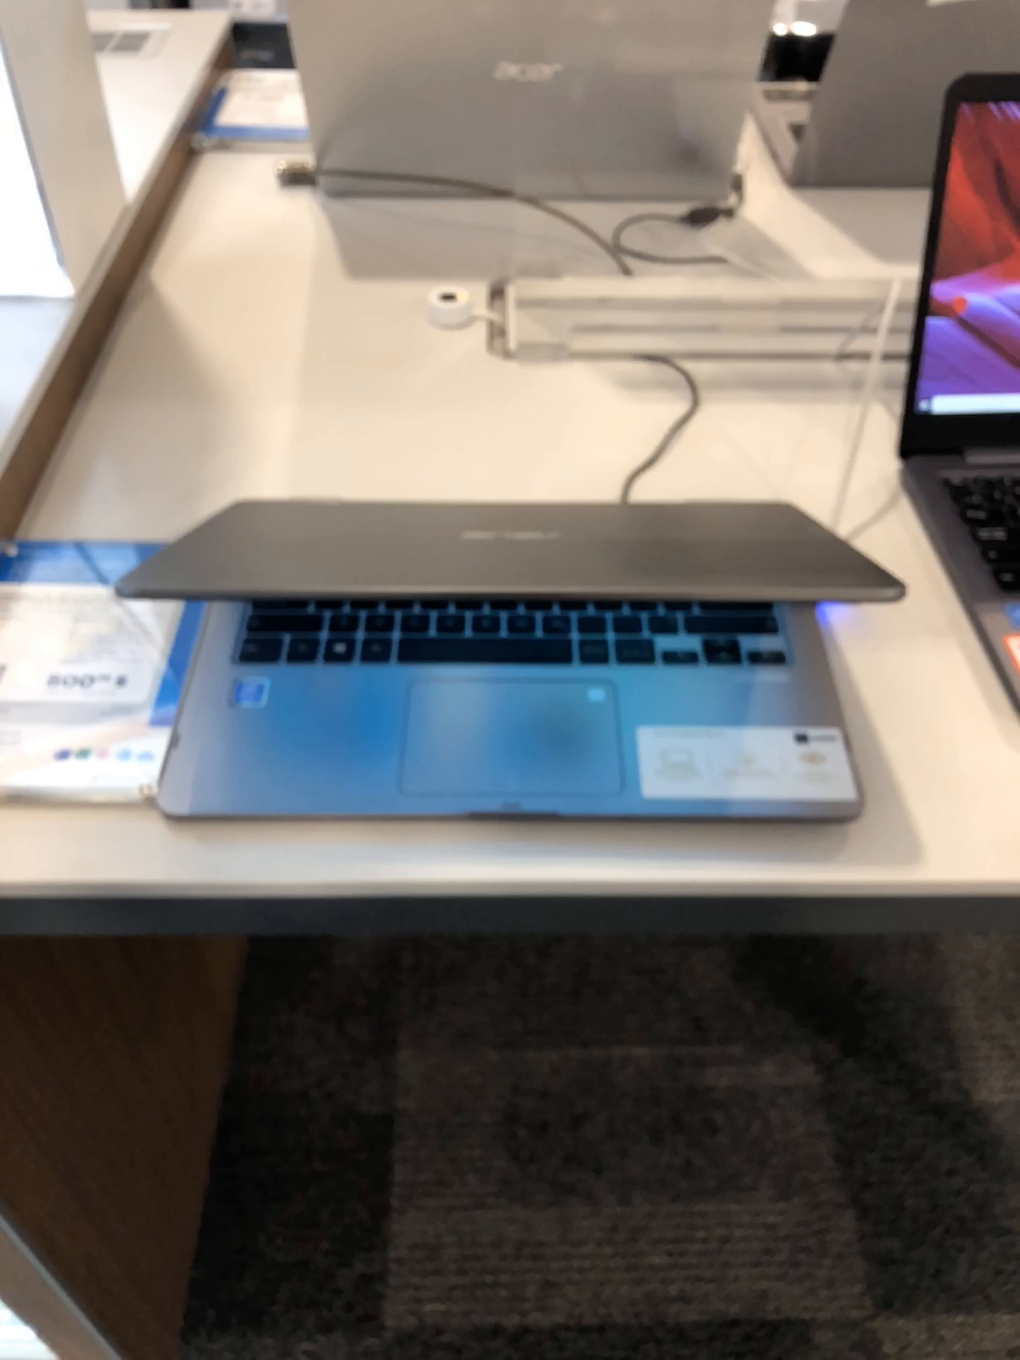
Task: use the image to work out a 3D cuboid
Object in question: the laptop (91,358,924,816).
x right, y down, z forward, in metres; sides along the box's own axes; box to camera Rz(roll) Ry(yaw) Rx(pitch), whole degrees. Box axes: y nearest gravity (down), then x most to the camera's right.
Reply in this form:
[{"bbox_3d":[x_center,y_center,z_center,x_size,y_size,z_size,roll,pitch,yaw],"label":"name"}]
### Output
[{"bbox_3d":[-0.002,-0.053,0.553,0.321,0.105,0.215,0,46,1],"label":"laptop"}]
